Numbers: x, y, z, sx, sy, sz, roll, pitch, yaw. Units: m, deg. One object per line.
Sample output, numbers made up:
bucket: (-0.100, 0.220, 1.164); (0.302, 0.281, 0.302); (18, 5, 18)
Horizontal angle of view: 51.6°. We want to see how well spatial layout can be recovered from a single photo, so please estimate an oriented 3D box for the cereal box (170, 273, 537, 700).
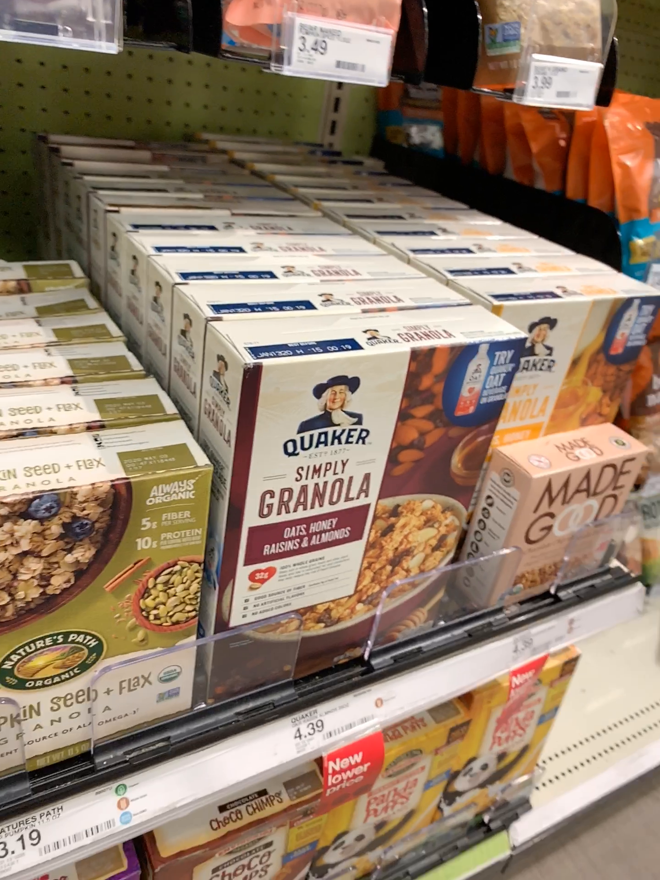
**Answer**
cereal box: (0.004, 0.028, 0.425); (0.180, 0.249, 0.060); (-9, 37, -30)
